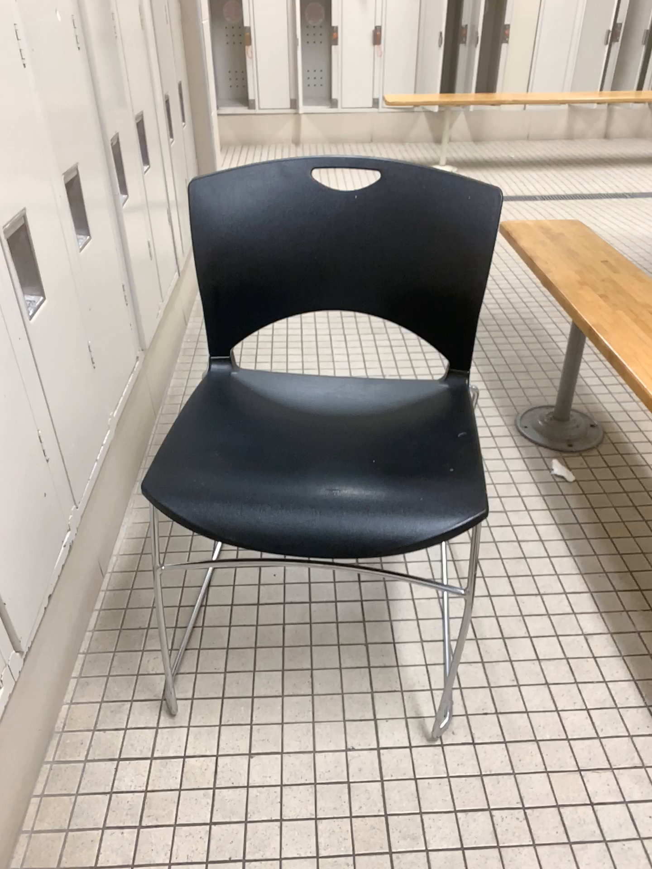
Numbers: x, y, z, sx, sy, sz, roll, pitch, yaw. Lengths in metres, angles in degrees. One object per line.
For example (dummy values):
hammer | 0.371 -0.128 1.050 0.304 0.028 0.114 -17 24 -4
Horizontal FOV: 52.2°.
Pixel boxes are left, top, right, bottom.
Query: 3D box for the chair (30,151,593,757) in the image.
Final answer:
chair | 0.015 -0.023 0.982 0.475 0.631 0.615 3 33 6
